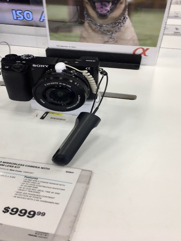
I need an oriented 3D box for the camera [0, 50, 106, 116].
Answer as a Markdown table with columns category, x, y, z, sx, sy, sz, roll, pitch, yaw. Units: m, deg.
| category | x | y | z | sx | sy | sz | roll | pitch | yaw |
| --- | --- | --- | --- | --- | --- | --- | --- | --- | --- |
| camera | -0.056 | -0.058 | 0.354 | 0.141 | 0.065 | 0.076 | 6 | 41 | 6 |
